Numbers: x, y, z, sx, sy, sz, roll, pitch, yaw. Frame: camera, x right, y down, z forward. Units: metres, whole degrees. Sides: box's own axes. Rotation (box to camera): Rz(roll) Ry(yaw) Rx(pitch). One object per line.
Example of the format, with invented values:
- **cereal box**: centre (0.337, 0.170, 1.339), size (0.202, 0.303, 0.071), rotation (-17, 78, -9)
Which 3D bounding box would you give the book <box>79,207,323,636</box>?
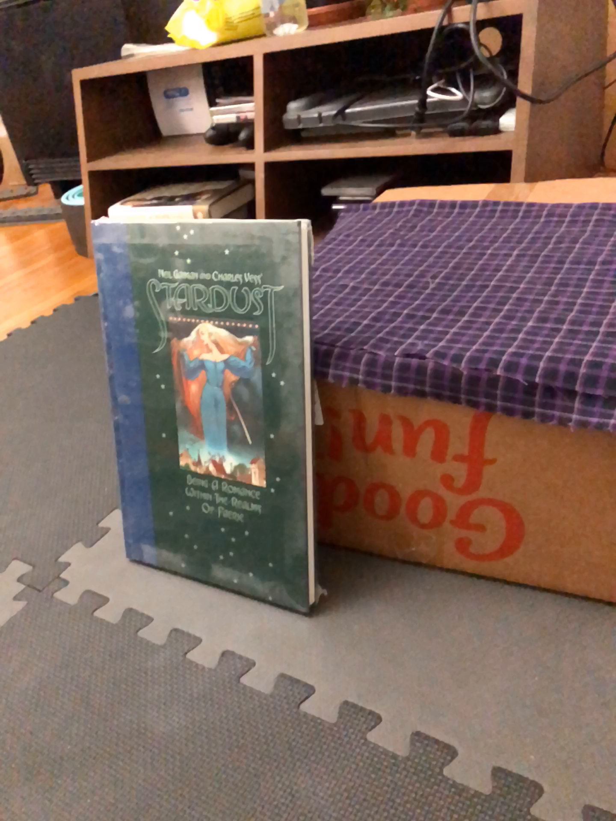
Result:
- **book**: centre (-0.088, 0.007, 0.560), size (0.210, 0.329, 0.020), rotation (7, 18, 30)
